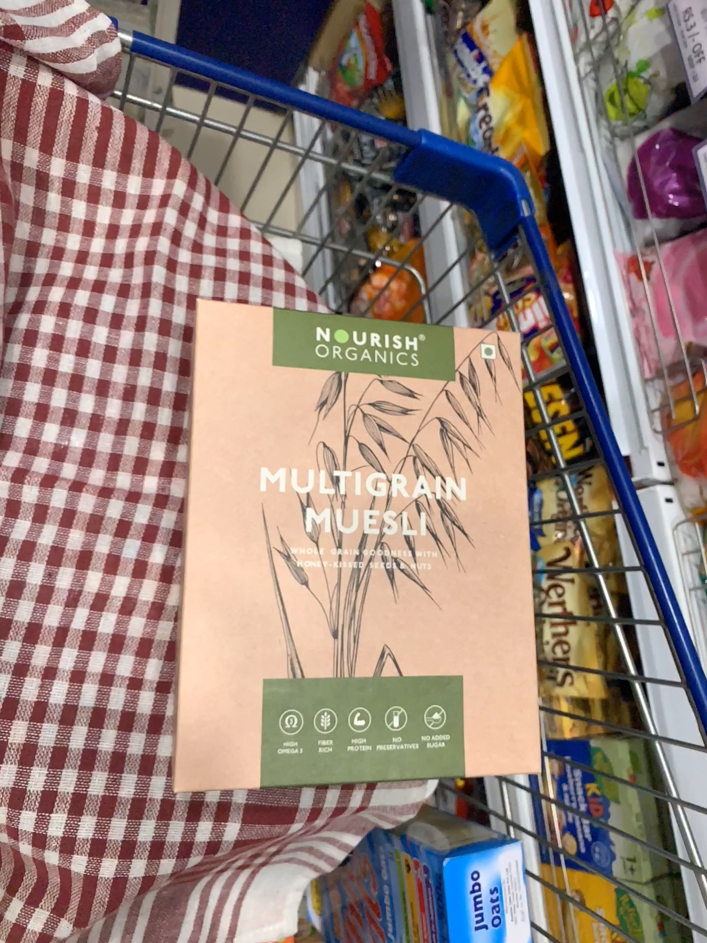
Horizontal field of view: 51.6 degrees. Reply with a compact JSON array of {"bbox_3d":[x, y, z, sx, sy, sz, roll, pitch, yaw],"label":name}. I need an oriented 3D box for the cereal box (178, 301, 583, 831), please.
[{"bbox_3d":[0.010,0.037,0.323,0.160,0.050,0.200,3,78,-16],"label":"cereal box"}]
